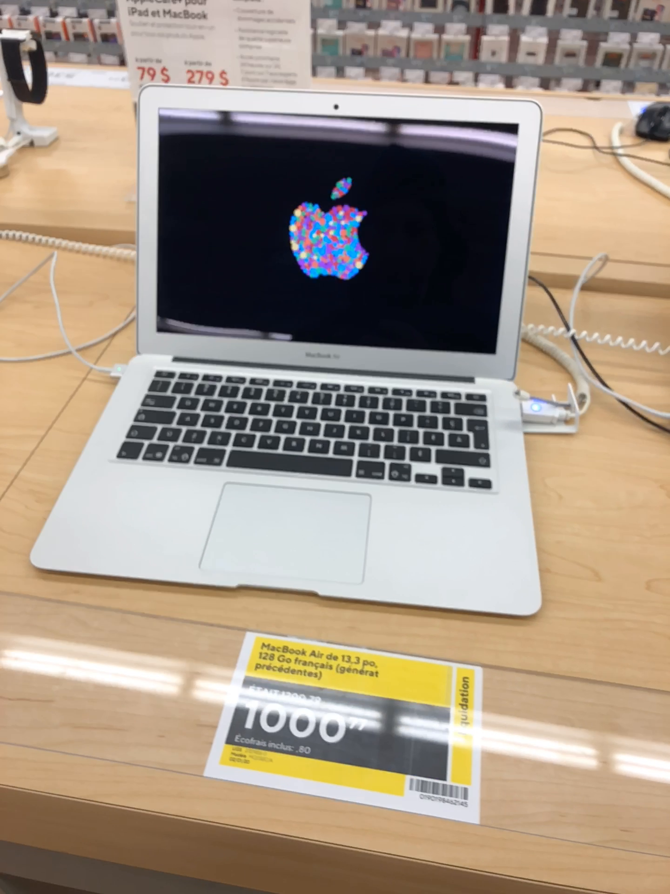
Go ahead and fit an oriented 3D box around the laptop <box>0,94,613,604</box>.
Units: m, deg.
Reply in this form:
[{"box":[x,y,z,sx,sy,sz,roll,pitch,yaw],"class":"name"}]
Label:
[{"box":[-0.018,-0.091,0.511,0.305,0.186,0.326,4,40,3],"class":"laptop"}]
